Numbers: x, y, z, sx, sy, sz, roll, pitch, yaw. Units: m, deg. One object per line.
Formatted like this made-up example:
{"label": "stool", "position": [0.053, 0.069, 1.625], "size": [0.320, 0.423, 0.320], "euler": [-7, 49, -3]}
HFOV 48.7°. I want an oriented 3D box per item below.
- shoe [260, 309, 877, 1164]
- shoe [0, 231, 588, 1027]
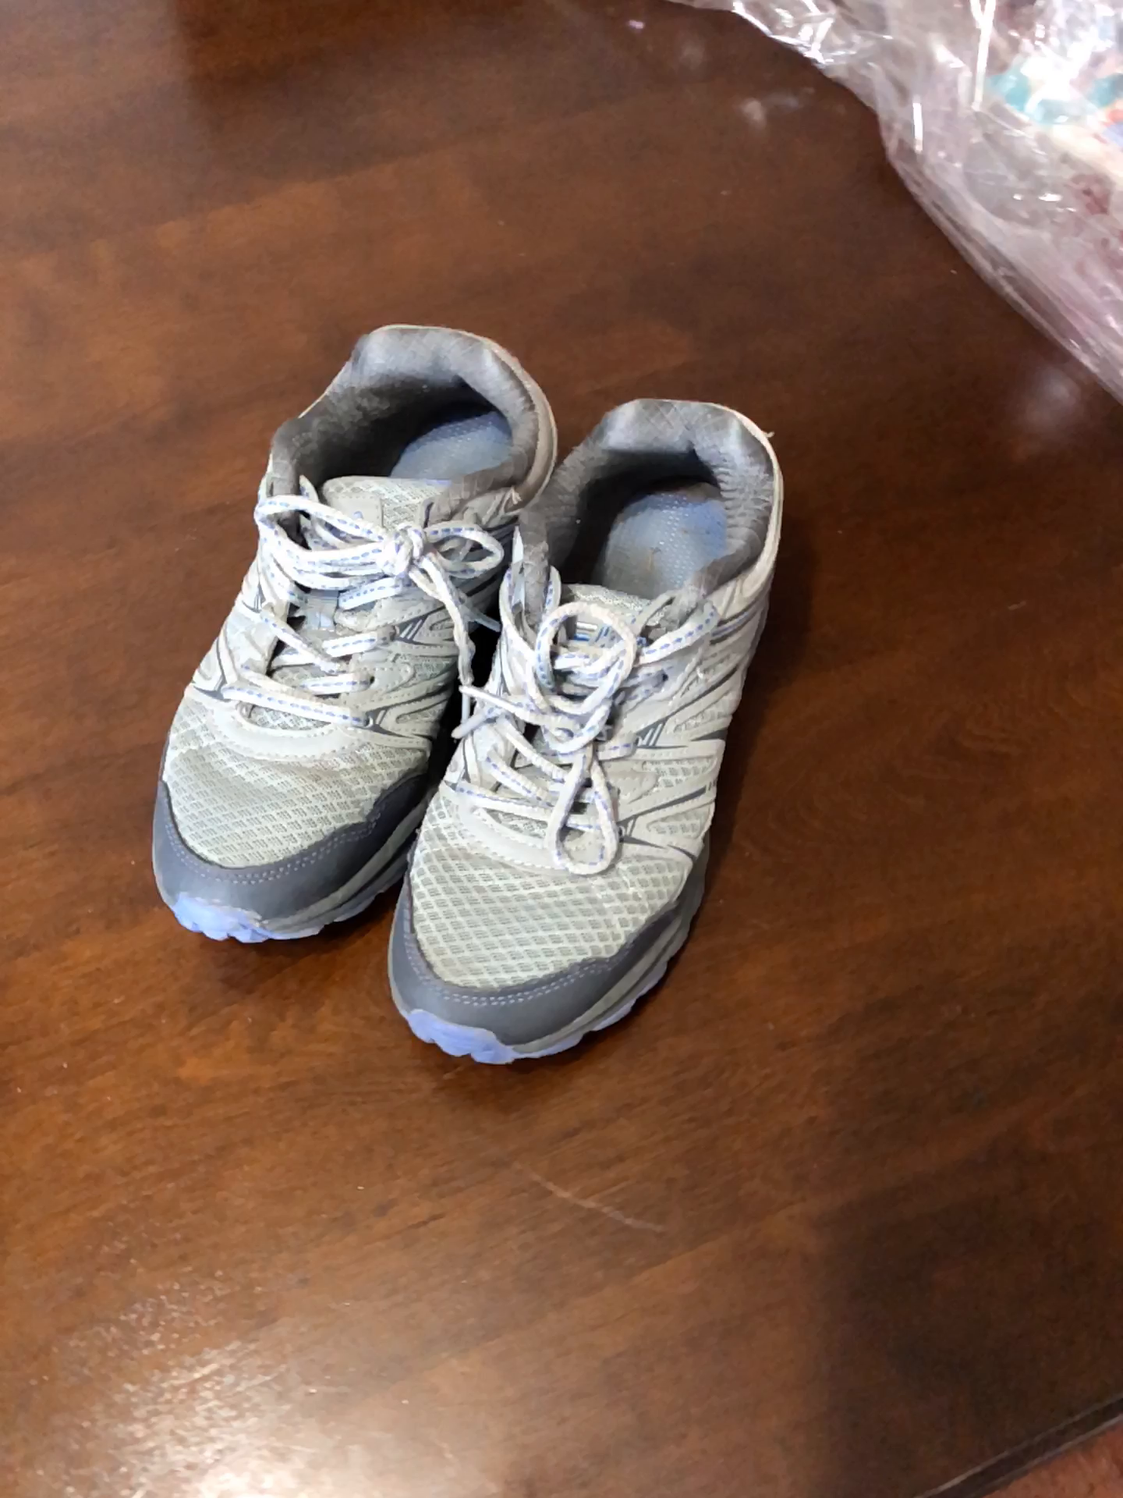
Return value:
{"label": "shoe", "position": [0.016, -0.015, 0.425], "size": [0.110, 0.100, 0.260], "euler": [16, 61, 11]}
{"label": "shoe", "position": [-0.082, -0.051, 0.436], "size": [0.110, 0.100, 0.250], "euler": [16, 61, 11]}
